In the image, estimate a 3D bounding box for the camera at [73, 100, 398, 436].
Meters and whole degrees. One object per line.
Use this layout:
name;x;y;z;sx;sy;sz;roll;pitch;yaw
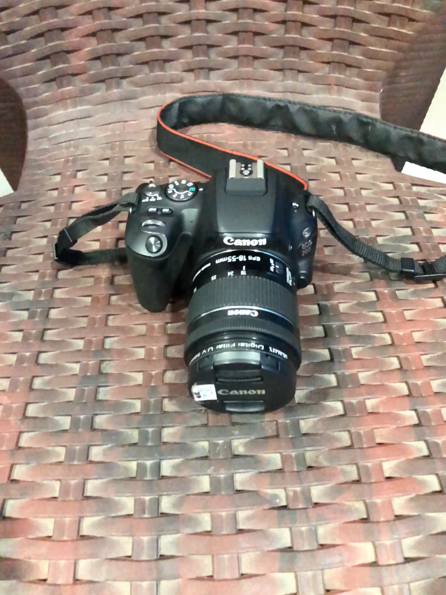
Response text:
camera;0.008;-0.016;0.301;0.140;0.110;0.171;1;62;2
